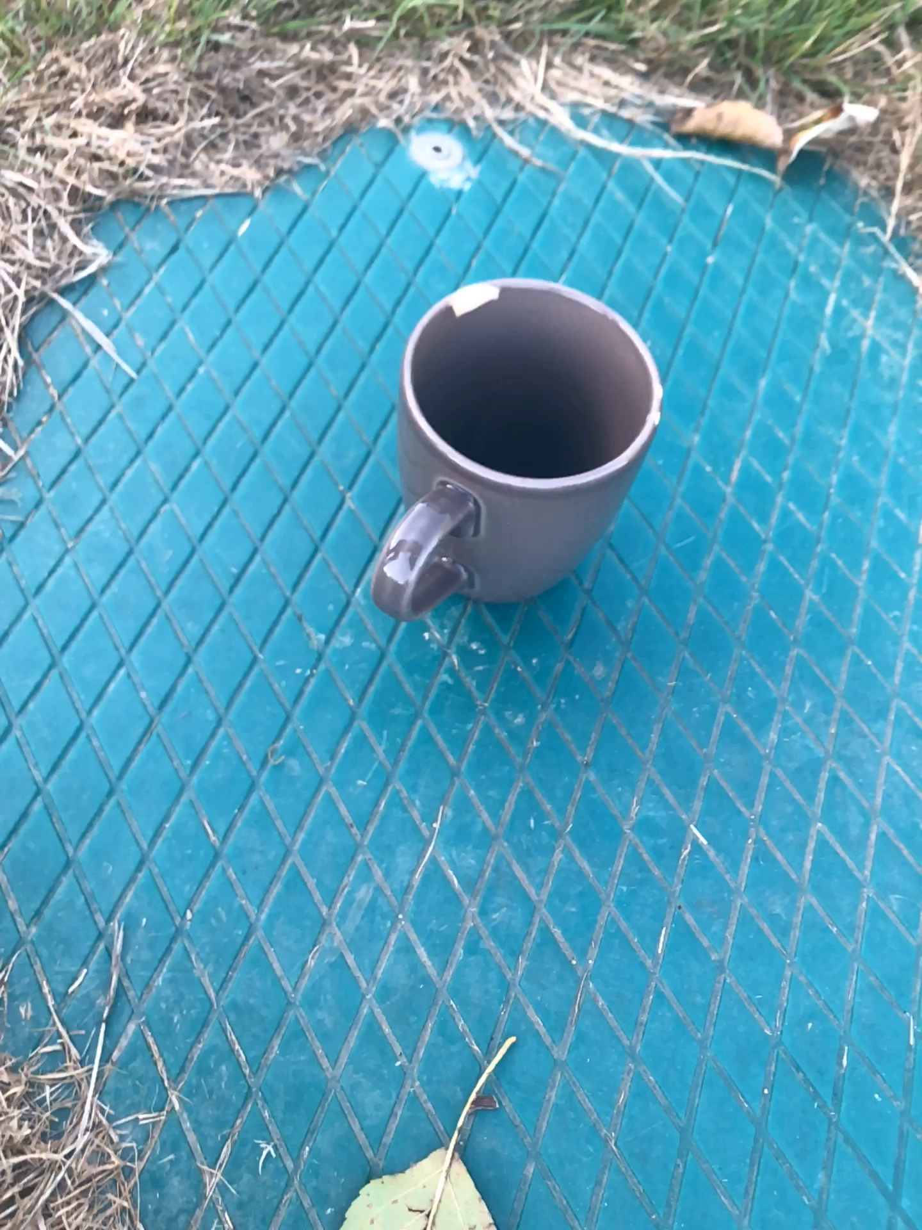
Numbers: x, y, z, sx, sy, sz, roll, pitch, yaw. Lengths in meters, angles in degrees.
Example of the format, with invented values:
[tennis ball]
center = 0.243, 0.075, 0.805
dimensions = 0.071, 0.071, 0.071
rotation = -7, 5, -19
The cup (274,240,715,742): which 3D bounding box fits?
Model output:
[cup]
center = 0.011, -0.045, 0.360
dimensions = 0.090, 0.086, 0.127
rotation = 30, 60, 10
